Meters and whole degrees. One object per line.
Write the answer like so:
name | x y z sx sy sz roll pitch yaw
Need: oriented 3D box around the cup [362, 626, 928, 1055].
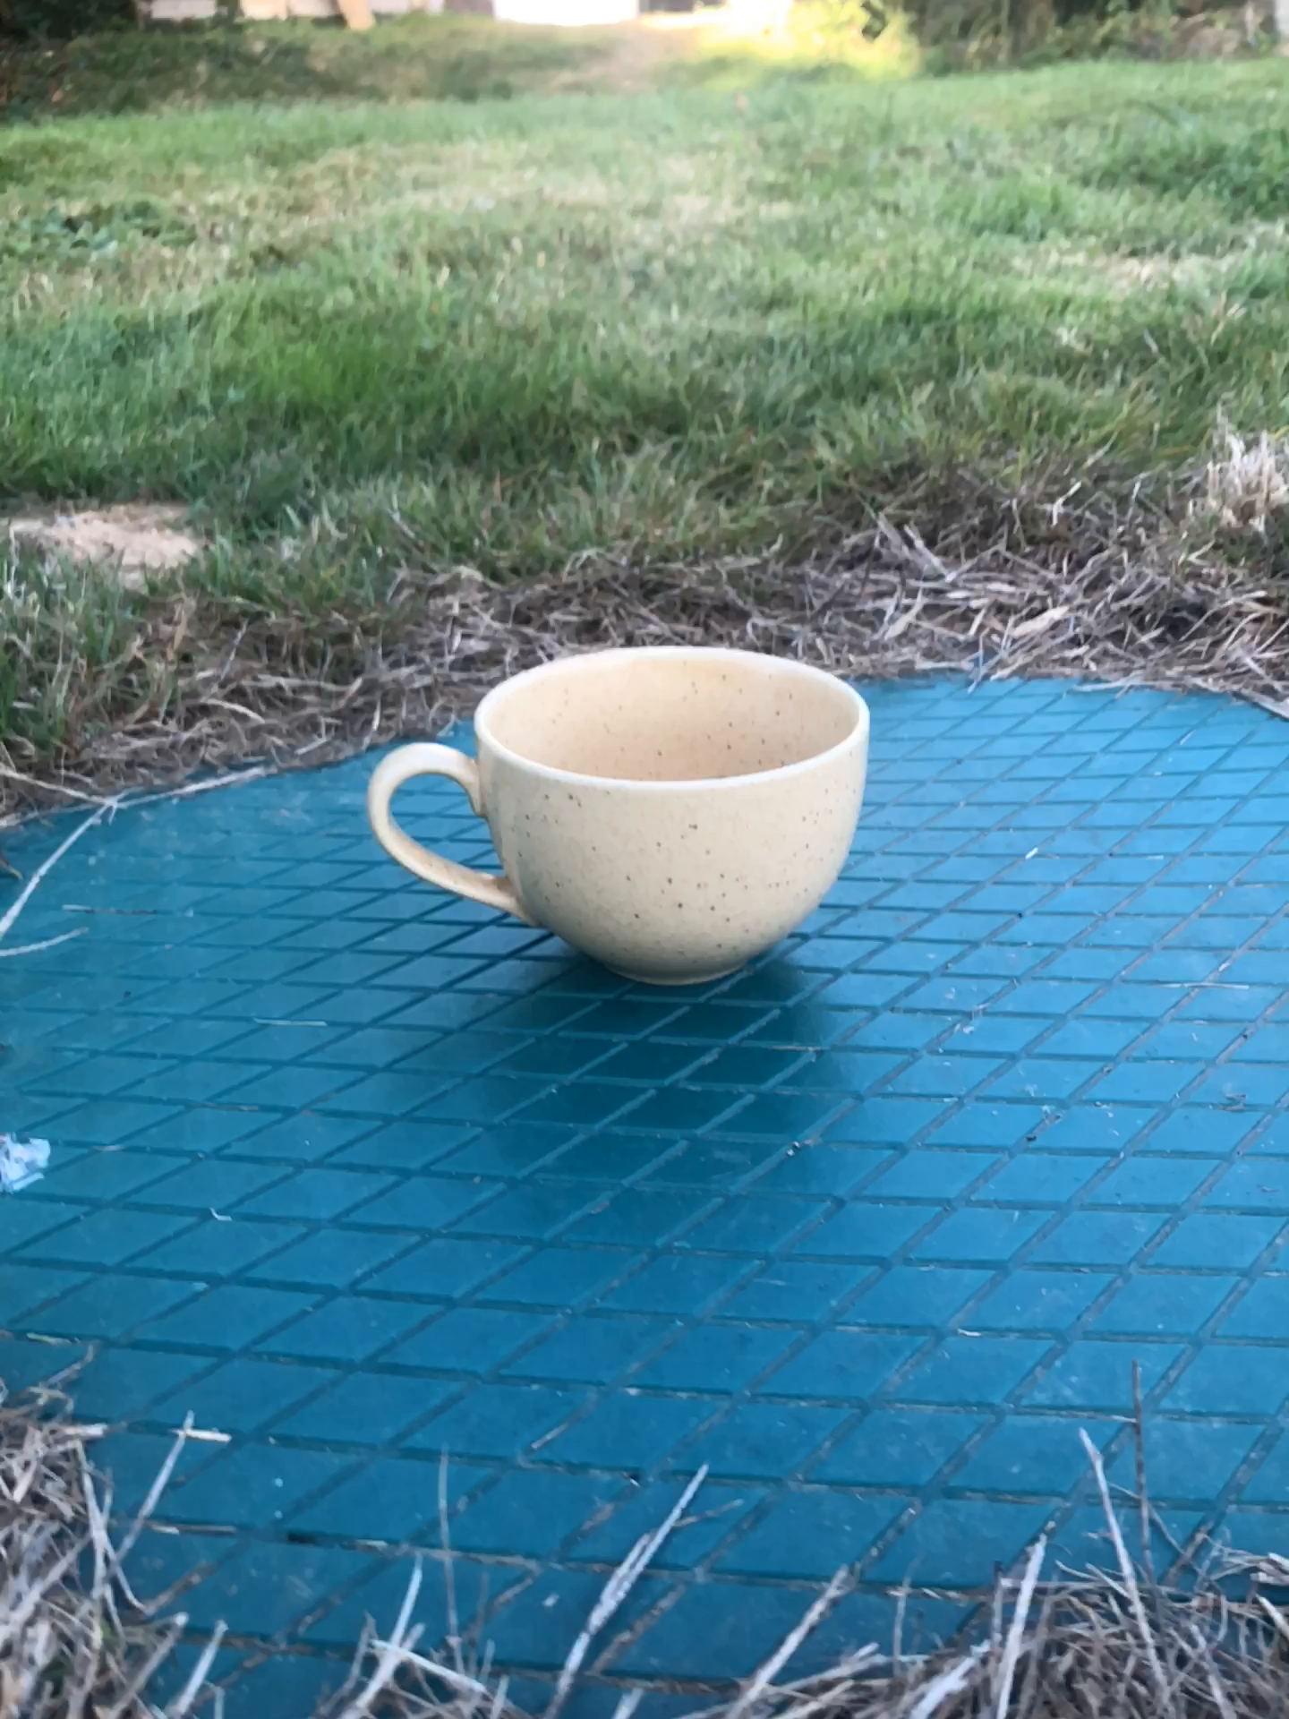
cup | -0.006 -0.014 0.434 0.142 0.065 0.124 -9 27 -11
